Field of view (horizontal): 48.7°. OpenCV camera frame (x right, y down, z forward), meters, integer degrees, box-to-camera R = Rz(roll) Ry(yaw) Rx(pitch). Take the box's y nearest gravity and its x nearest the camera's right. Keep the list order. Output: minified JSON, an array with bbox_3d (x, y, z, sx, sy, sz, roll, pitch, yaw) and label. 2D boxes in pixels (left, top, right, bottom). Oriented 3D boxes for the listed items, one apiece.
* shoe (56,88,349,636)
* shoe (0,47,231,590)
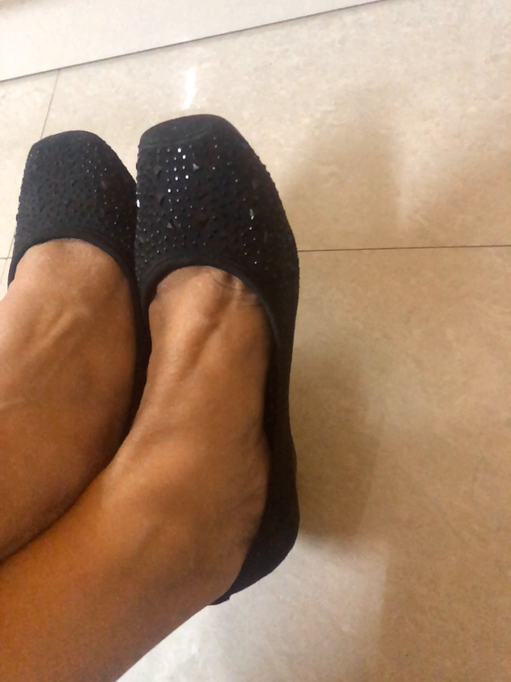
[{"bbox_3d":[-0.016,0.012,0.286,0.100,0.070,0.240,2,108,26],"label":"shoe"},{"bbox_3d":[-0.092,-0.004,0.325,0.100,0.070,0.270,-7,95,16],"label":"shoe"}]
